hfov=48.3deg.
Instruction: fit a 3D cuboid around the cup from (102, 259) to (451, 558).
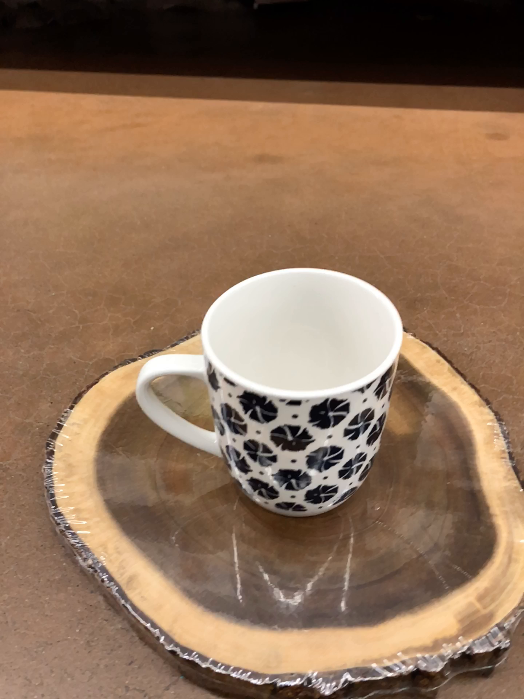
[{"bbox_3d":[0.004,0.027,0.283,0.130,0.100,0.090,-4,41,-3],"label":"cup"}]
